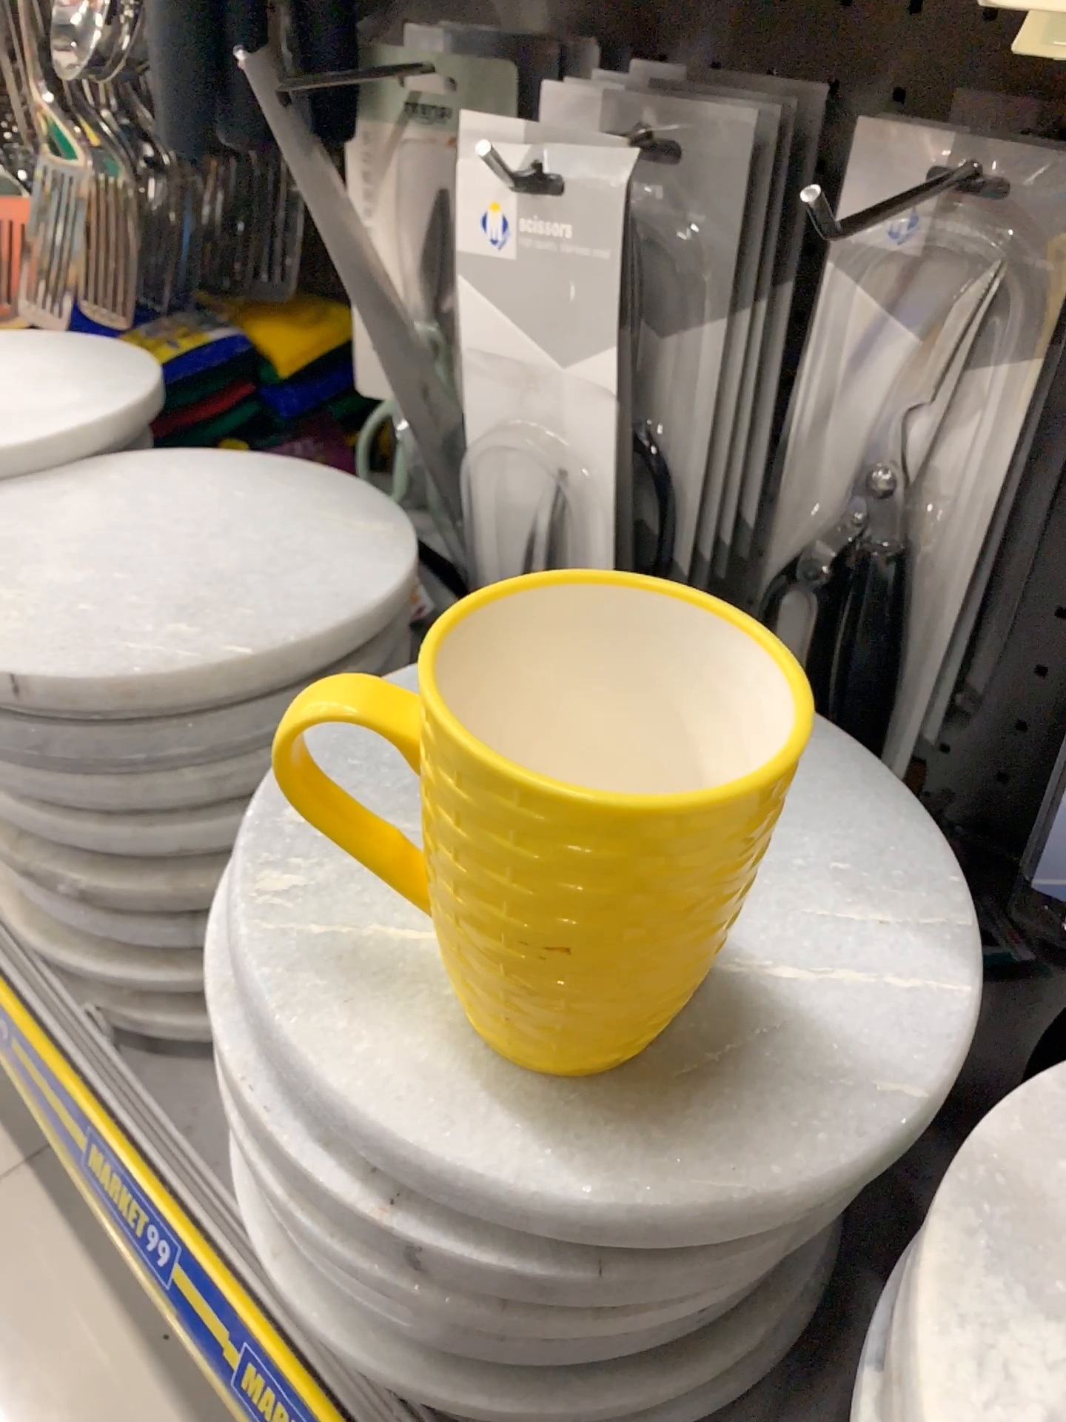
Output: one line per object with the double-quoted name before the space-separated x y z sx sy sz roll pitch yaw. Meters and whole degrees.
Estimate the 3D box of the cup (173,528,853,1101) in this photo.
"cup" -0.006 0.022 0.257 0.120 0.090 0.090 3 35 -2
